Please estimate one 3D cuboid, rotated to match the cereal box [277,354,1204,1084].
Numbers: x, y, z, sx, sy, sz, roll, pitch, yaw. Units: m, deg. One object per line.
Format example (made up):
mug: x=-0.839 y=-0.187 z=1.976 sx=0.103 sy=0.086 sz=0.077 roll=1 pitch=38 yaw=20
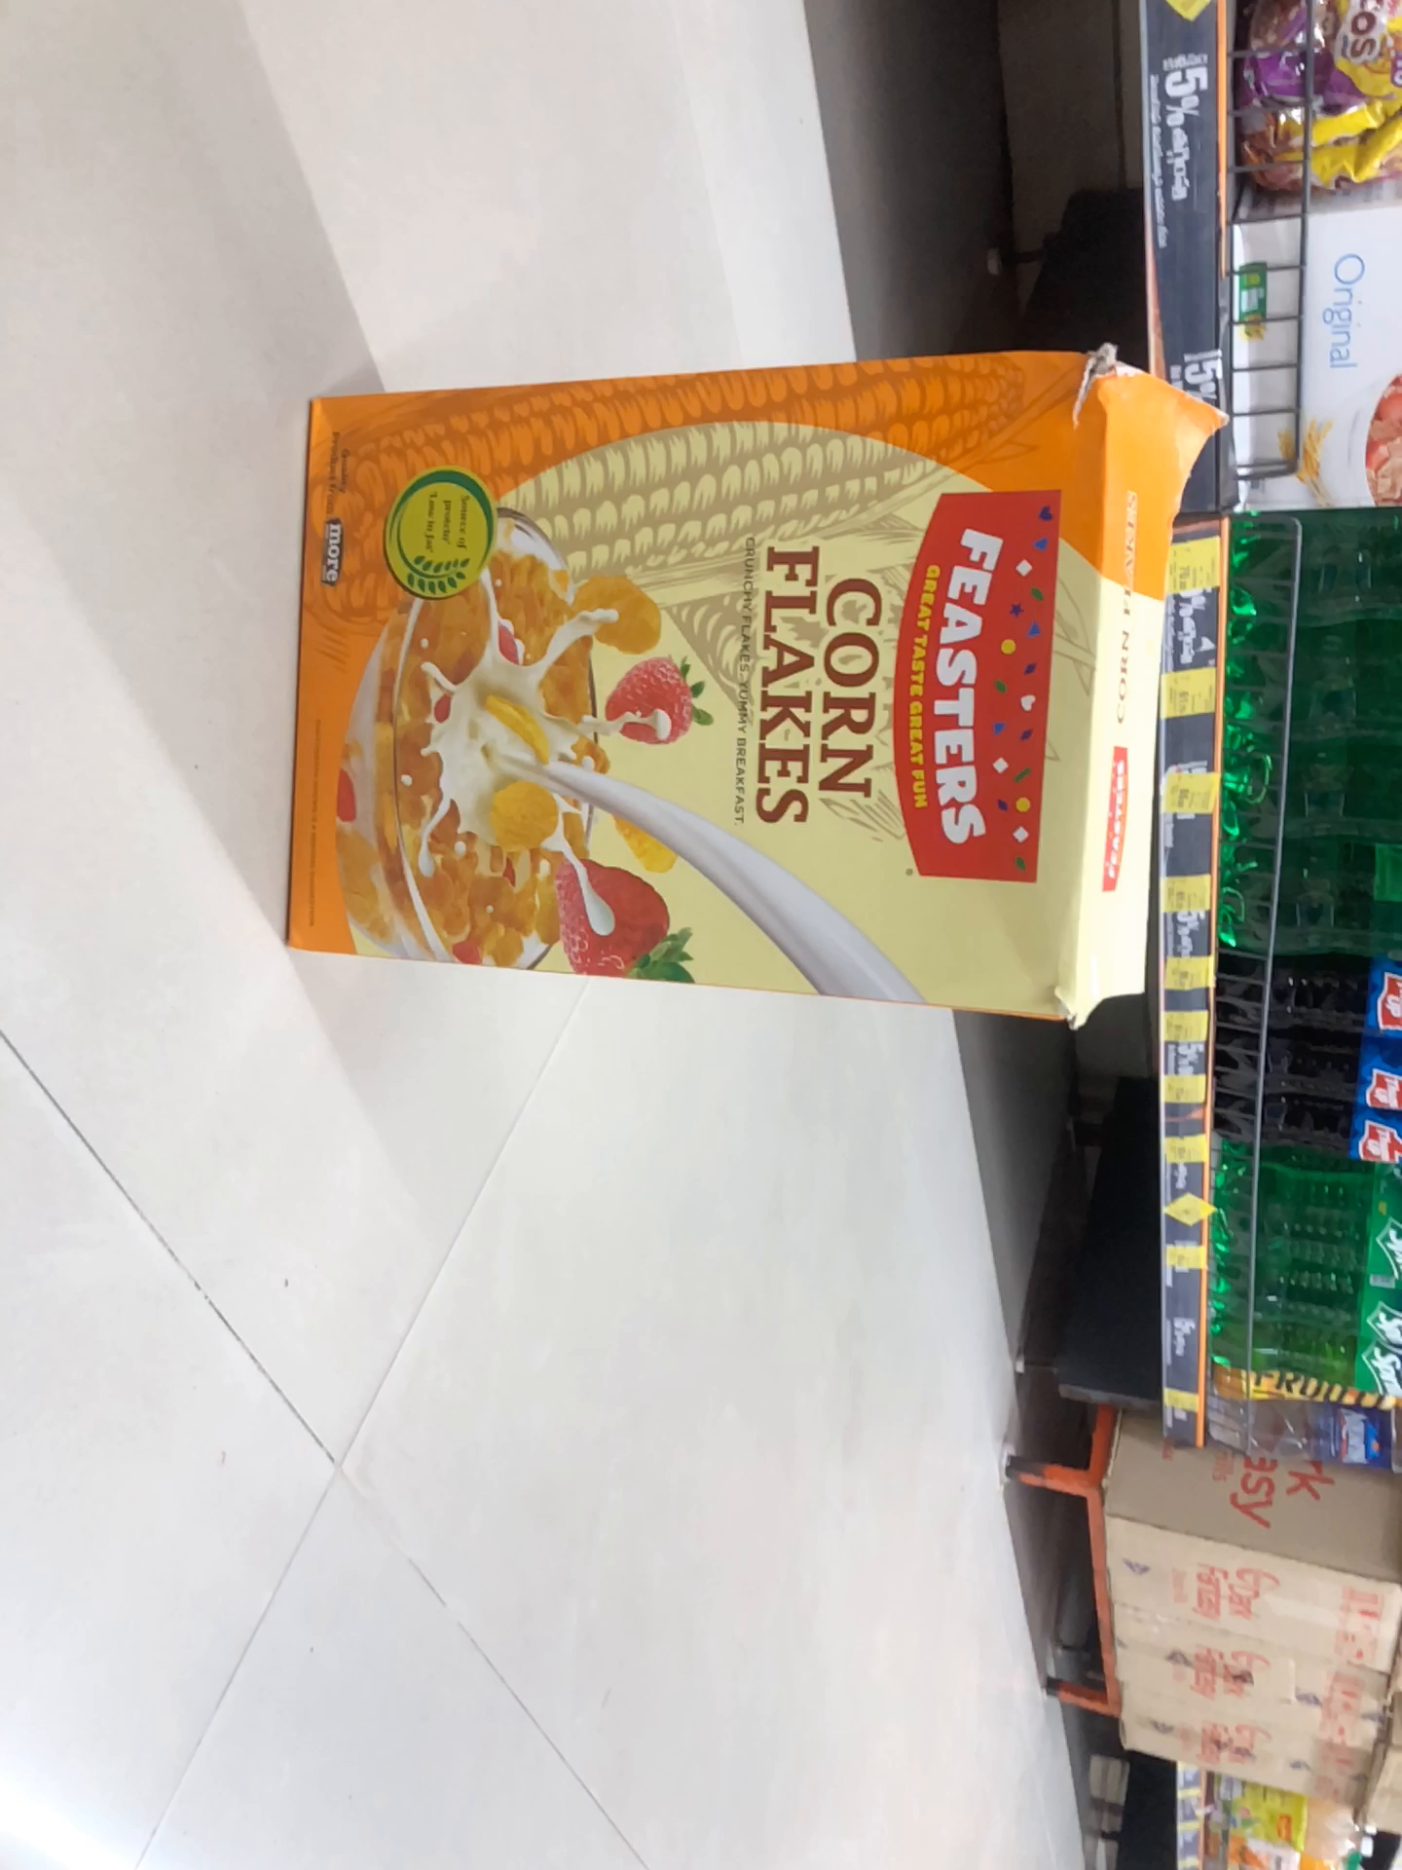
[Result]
cereal box: x=0.007 y=-0.063 z=0.472 sx=0.060 sy=0.268 sz=0.190 roll=-1 pitch=94 yaw=-71
